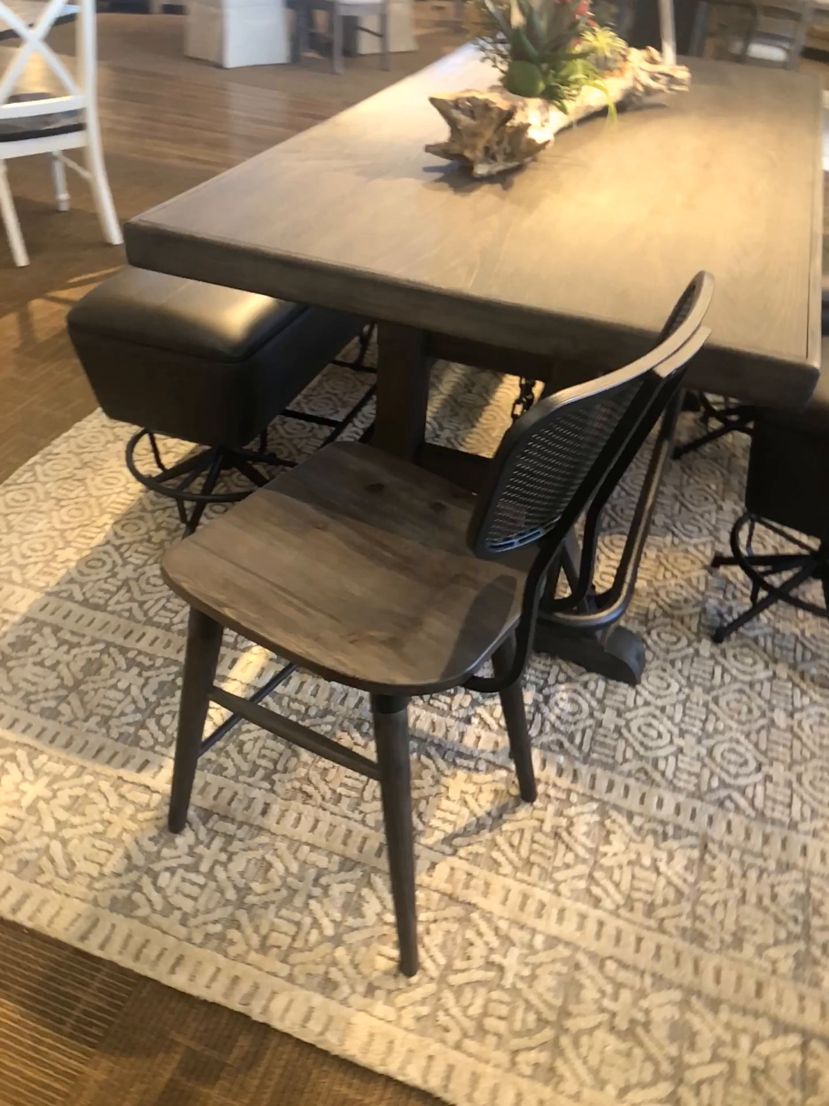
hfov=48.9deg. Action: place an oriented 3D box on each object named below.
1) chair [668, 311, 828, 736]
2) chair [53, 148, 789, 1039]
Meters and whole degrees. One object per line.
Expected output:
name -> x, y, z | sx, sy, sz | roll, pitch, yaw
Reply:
chair -> 0.917, -0.100, 1.883 | 0.520, 0.488, 0.637 | 20, 40, 19
chair -> -0.001, 0.052, 1.254 | 0.604, 0.947, 0.509 | 24, 42, 24
